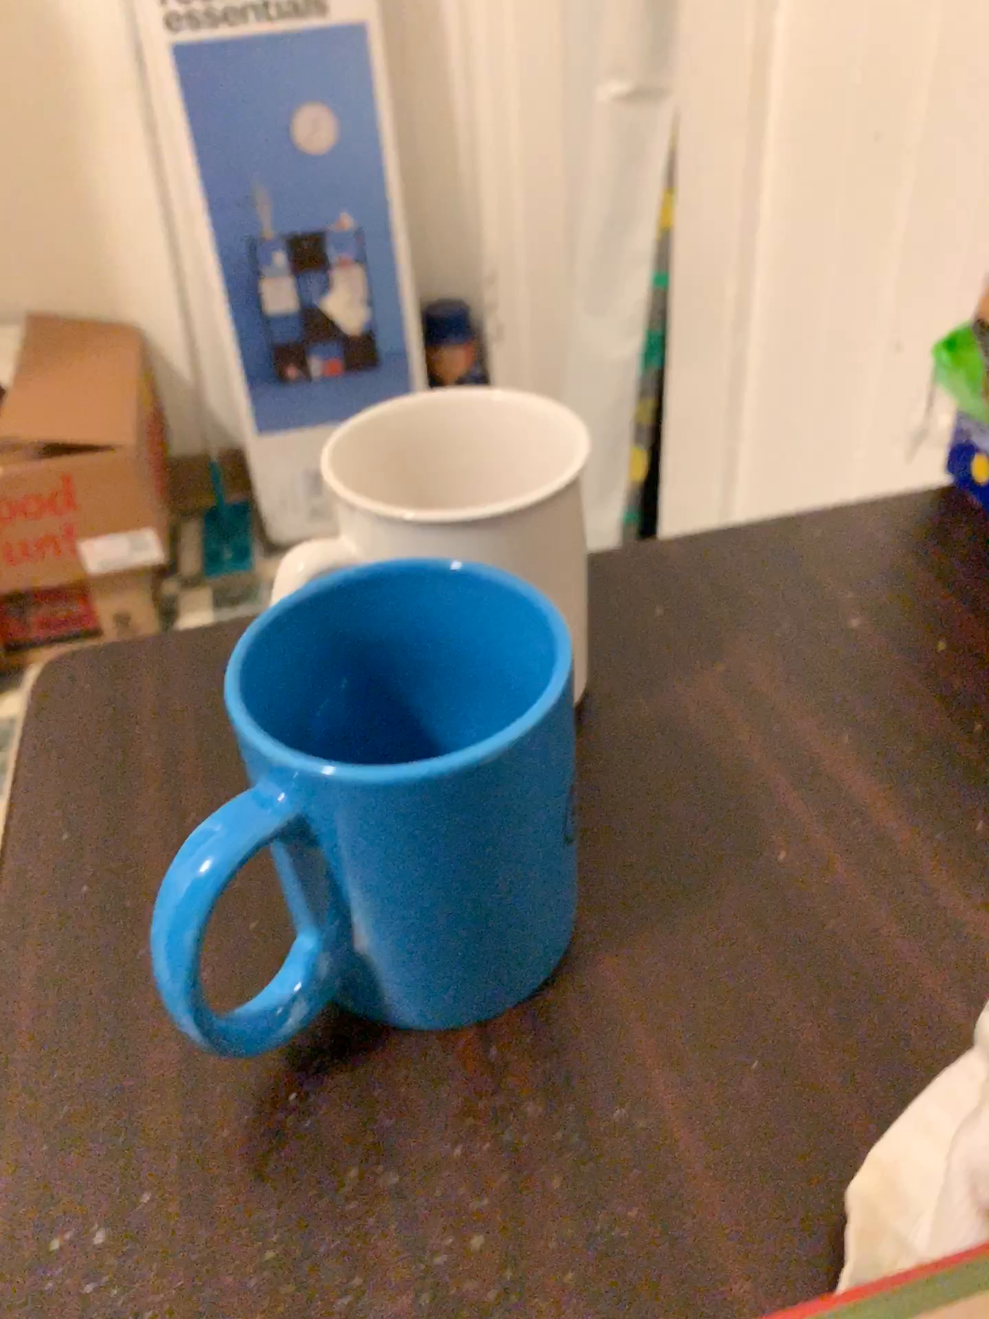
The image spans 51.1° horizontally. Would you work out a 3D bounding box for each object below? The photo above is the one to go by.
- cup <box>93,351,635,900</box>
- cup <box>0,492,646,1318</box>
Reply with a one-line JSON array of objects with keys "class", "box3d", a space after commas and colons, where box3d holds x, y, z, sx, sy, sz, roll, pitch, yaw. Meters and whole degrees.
[{"class": "cup", "box3d": [-0.032, -0.019, 0.331, 0.090, 0.099, 0.130, 30, 50, 35]}, {"class": "cup", "box3d": [-0.044, 0.047, 0.245, 0.090, 0.099, 0.140, 28, 50, 34]}]
